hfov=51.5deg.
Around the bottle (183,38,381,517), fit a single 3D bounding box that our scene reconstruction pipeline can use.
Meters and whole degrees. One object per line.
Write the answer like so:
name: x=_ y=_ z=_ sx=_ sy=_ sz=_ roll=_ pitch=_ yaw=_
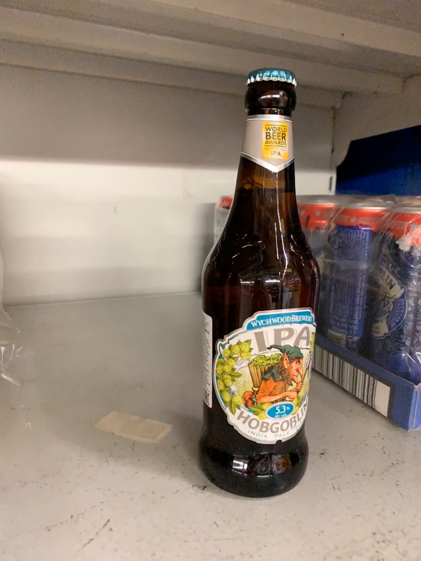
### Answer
bottle: x=0.033 y=0.002 z=0.272 sx=0.080 sy=0.249 sz=0.080 roll=2 pitch=12 yaw=0
